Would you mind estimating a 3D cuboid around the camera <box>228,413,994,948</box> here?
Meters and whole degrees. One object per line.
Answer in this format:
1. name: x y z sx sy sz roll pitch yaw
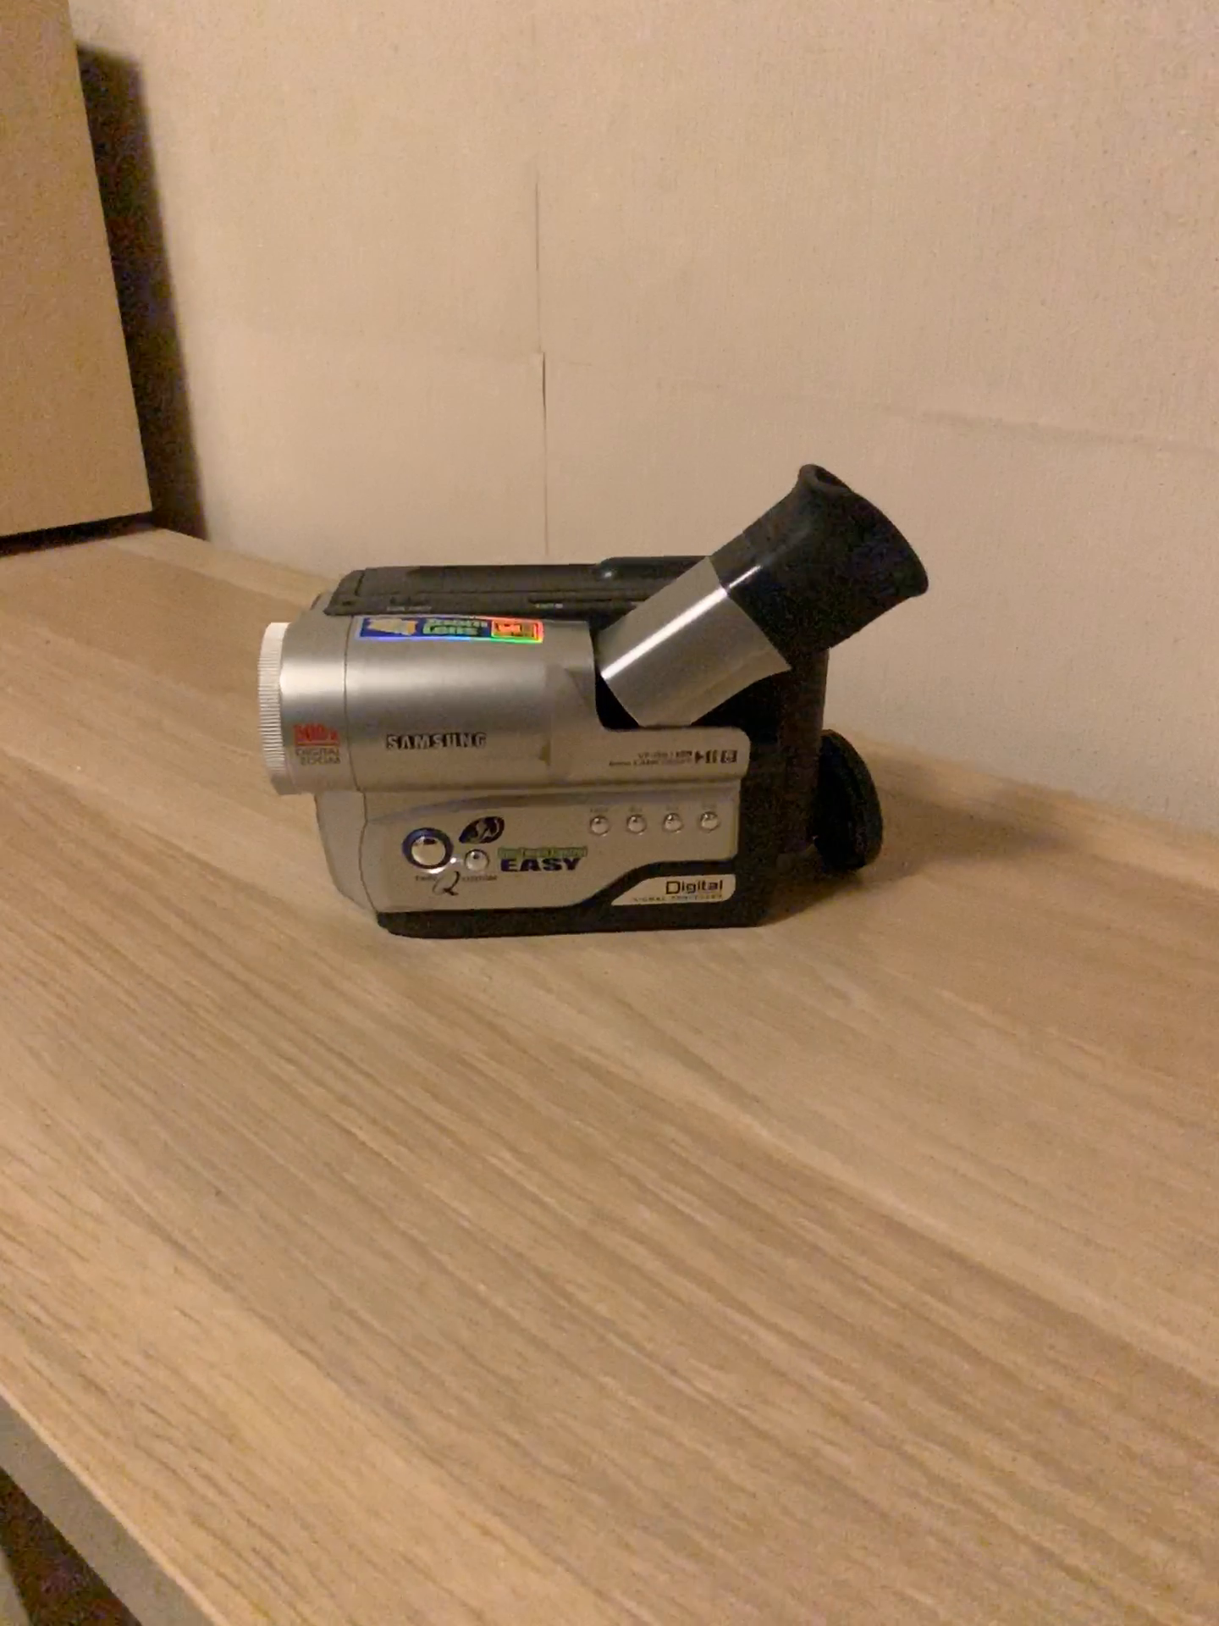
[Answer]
1. camera: -0.002 -0.046 0.389 0.192 0.133 0.107 -1 26 -4
